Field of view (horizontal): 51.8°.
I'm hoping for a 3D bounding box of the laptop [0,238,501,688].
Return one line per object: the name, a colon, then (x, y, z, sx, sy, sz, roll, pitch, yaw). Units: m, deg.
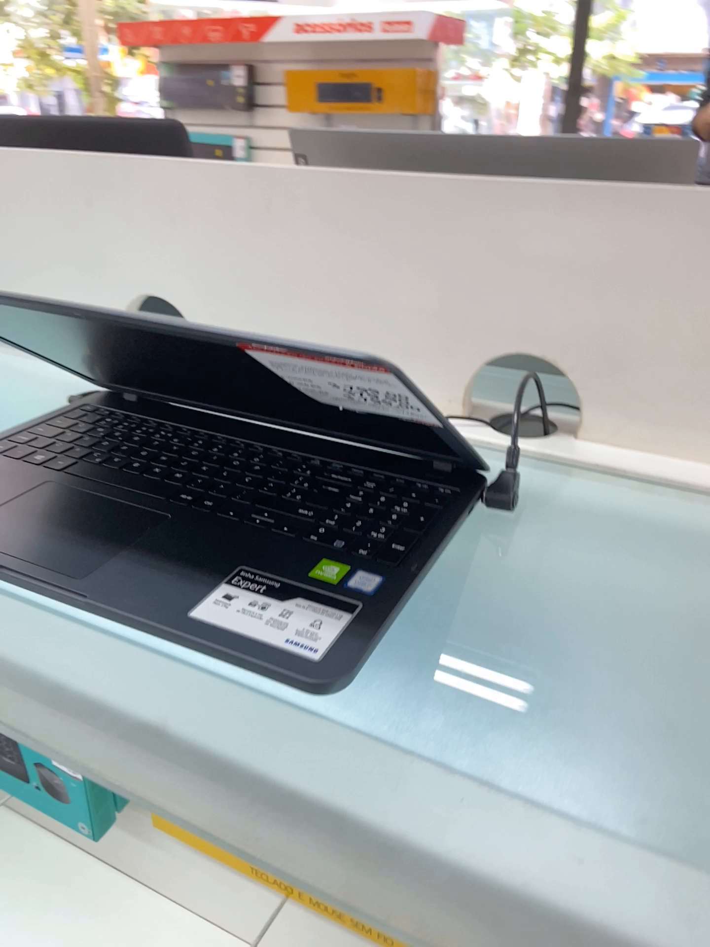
laptop: (-0.126, -0.049, 0.488, 0.377, 0.139, 0.240, 13, 30, 23)
